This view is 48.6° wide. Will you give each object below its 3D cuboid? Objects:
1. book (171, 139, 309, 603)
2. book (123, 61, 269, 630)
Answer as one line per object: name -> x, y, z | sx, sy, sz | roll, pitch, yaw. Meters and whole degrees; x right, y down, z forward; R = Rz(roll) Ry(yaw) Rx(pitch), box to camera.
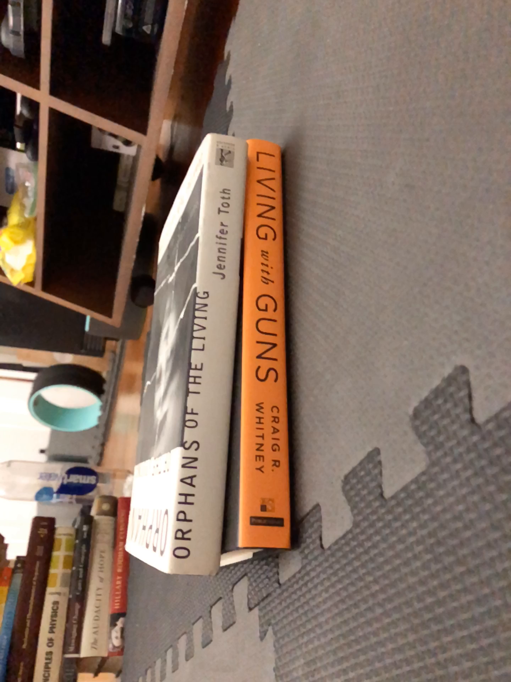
book -> -0.016, 0.025, 0.360 | 0.160, 0.030, 0.250 | 125, 149, -58
book -> -0.042, 0.007, 0.354 | 0.180, 0.030, 0.280 | 139, 137, -67
